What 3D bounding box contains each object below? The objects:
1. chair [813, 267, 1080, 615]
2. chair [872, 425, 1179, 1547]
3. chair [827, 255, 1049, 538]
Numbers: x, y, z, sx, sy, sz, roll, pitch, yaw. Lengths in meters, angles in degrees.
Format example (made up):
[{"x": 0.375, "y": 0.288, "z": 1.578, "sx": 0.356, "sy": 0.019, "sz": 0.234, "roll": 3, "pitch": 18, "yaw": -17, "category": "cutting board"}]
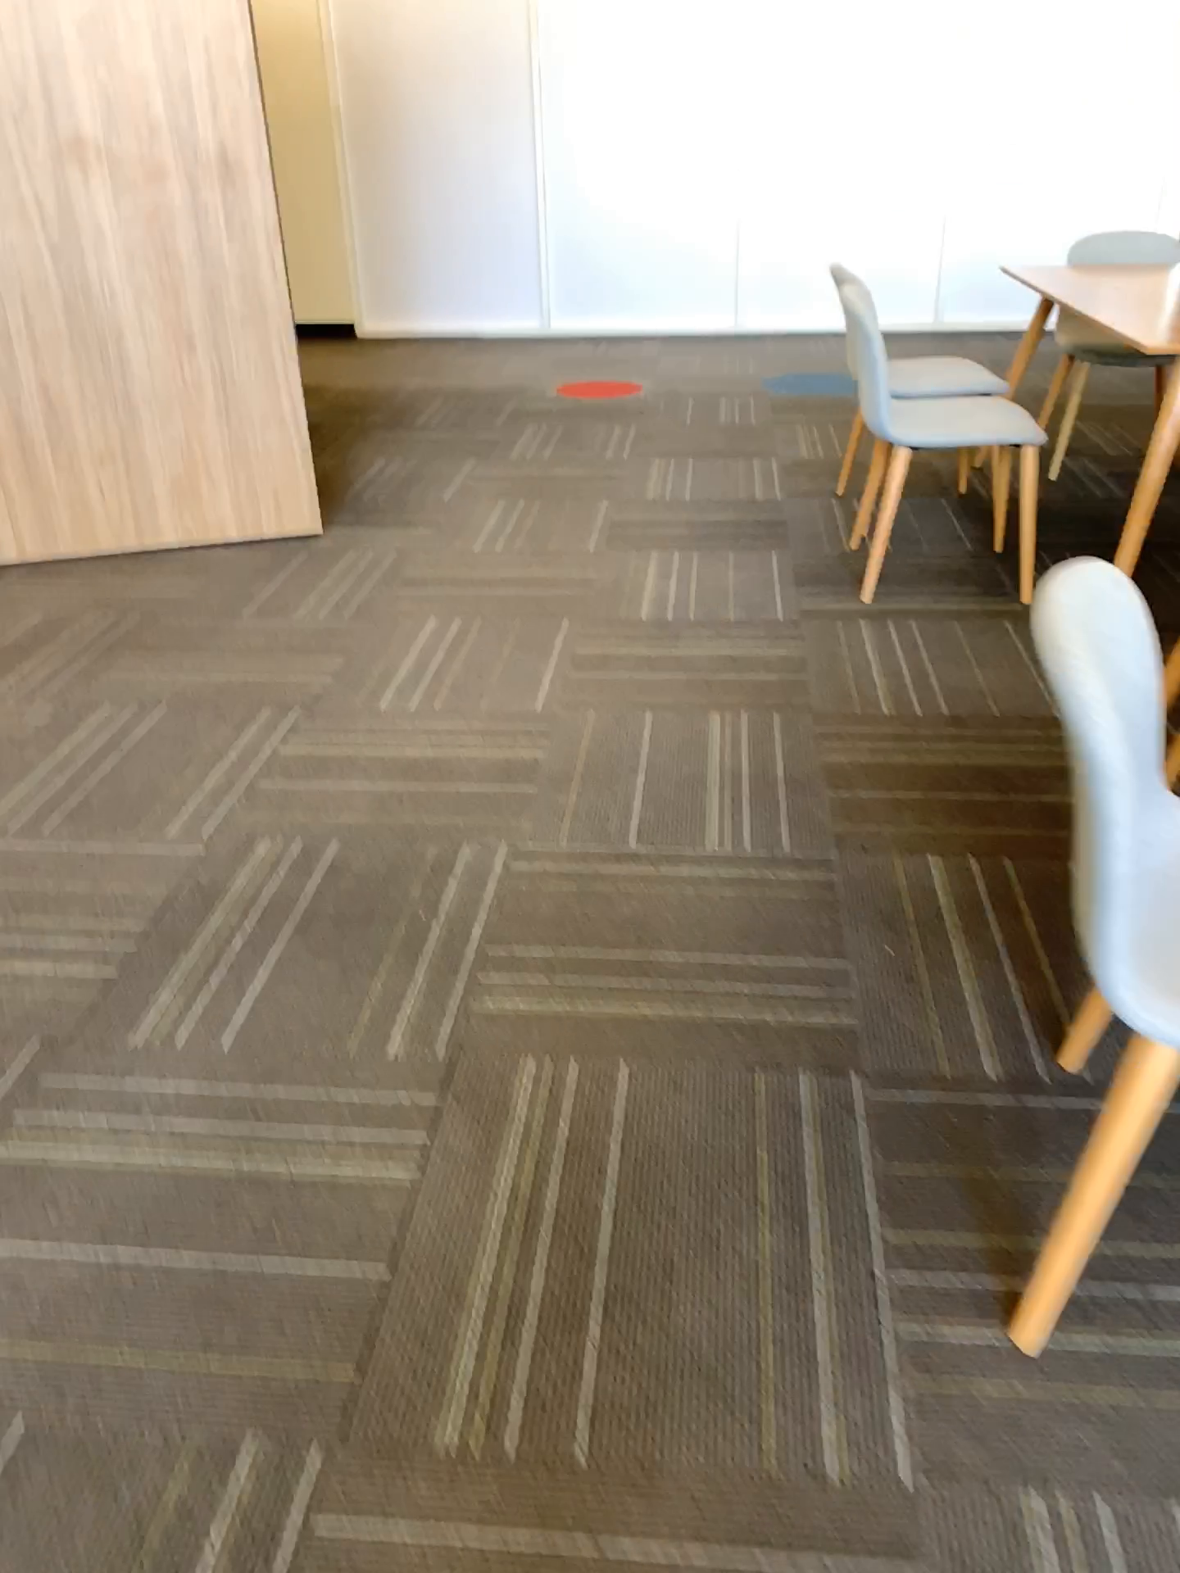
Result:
[{"x": 0.930, "y": -0.966, "z": 3.340, "sx": 0.570, "sy": 0.795, "sz": 0.593, "roll": 3, "pitch": 29, "yaw": 9, "category": "chair"}, {"x": 0.743, "y": 0.117, "z": 1.343, "sx": 0.631, "sy": 0.815, "sz": 0.763, "roll": 10, "pitch": 31, "yaw": 21, "category": "chair"}, {"x": 1.090, "y": -1.274, "z": 3.937, "sx": 0.530, "sy": 0.775, "sz": 0.573, "roll": 1, "pitch": 29, "yaw": 5, "category": "chair"}]
